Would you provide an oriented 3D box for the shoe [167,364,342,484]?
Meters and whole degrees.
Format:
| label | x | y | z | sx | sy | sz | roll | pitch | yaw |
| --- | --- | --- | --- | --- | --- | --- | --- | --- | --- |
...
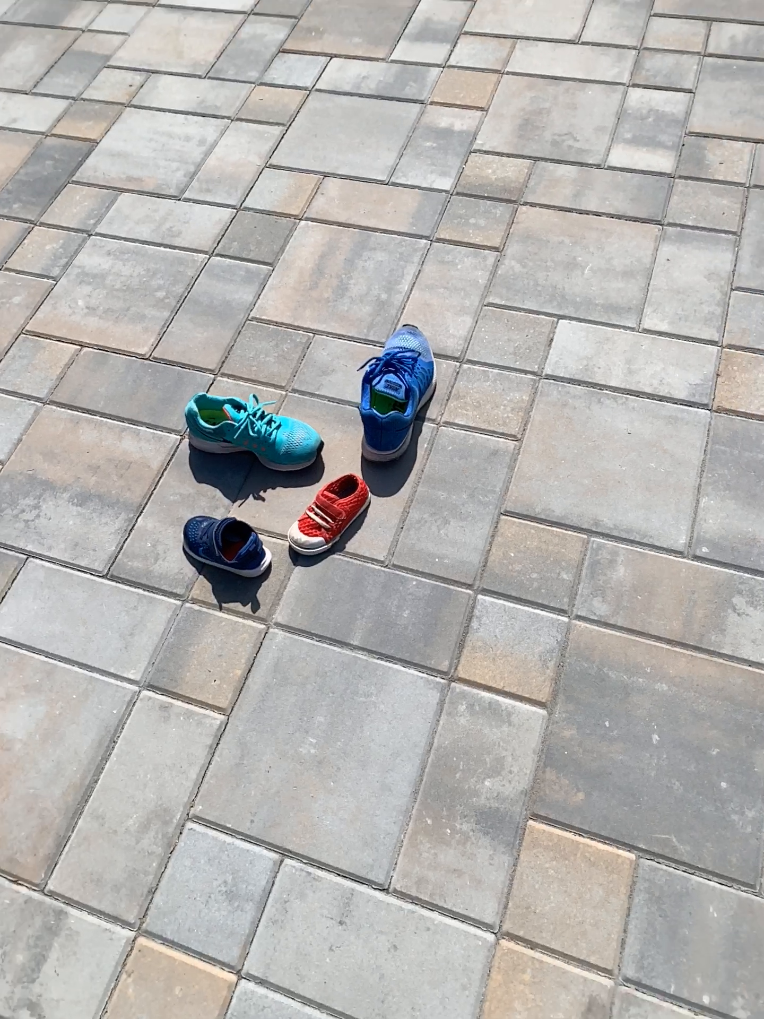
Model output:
| label | x | y | z | sx | sy | sz | roll | pitch | yaw |
| --- | --- | --- | --- | --- | --- | --- | --- | --- | --- |
| shoe | -0.198 | -0.136 | 1.242 | 0.240 | 0.100 | 0.100 | 15 | 63 | 13 |

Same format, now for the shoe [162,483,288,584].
| label | x | y | z | sx | sy | sz | roll | pitch | yaw |
| --- | --- | --- | --- | --- | --- | --- | --- | --- | --- |
| shoe | -0.228 | 0.034 | 1.146 | 0.150 | 0.070 | 0.080 | 20 | 64 | 16 |

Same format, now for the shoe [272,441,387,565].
| label | x | y | z | sx | sy | sz | roll | pitch | yaw |
| --- | --- | --- | --- | --- | --- | --- | --- | --- | --- |
| shoe | -0.075 | -0.010 | 1.163 | 0.080 | 0.080 | 0.150 | 36 | 69 | 22 |

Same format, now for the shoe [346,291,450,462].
| label | x | y | z | sx | sy | sz | roll | pitch | yaw |
| --- | --- | --- | --- | --- | --- | --- | --- | --- | --- |
| shoe | 0.032 | -0.214 | 1.245 | 0.110 | 0.110 | 0.240 | 10 | 62 | 10 |
